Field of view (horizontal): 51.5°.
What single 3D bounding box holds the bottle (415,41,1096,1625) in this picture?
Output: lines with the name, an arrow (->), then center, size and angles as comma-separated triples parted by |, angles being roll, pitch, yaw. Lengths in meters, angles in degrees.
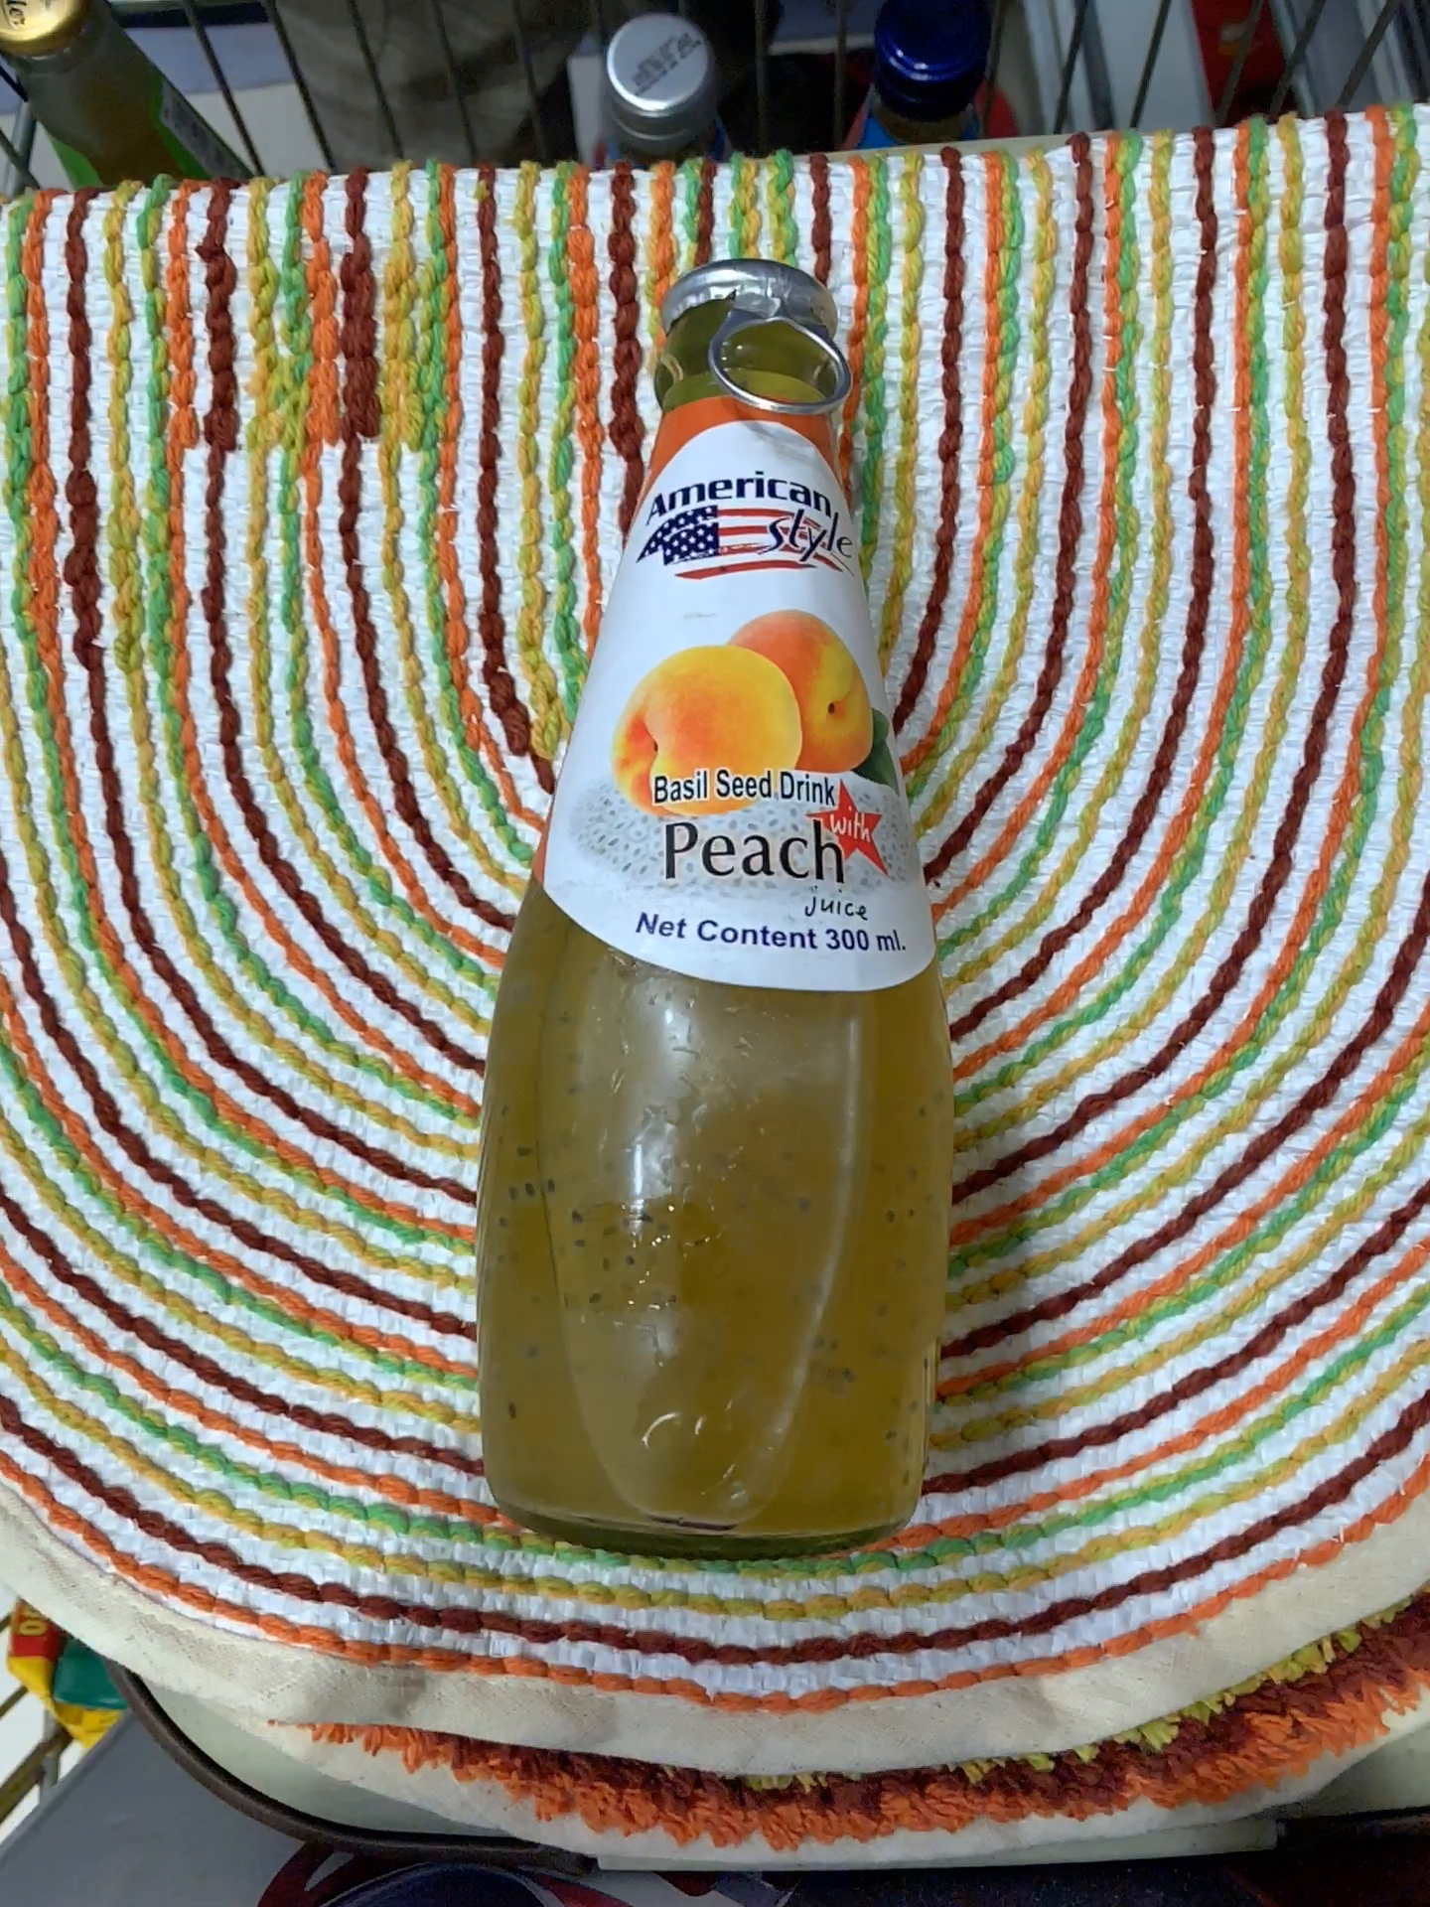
bottle -> 0.006, -0.017, 0.214 | 0.070, 0.060, 0.200 | 8, 74, -16
